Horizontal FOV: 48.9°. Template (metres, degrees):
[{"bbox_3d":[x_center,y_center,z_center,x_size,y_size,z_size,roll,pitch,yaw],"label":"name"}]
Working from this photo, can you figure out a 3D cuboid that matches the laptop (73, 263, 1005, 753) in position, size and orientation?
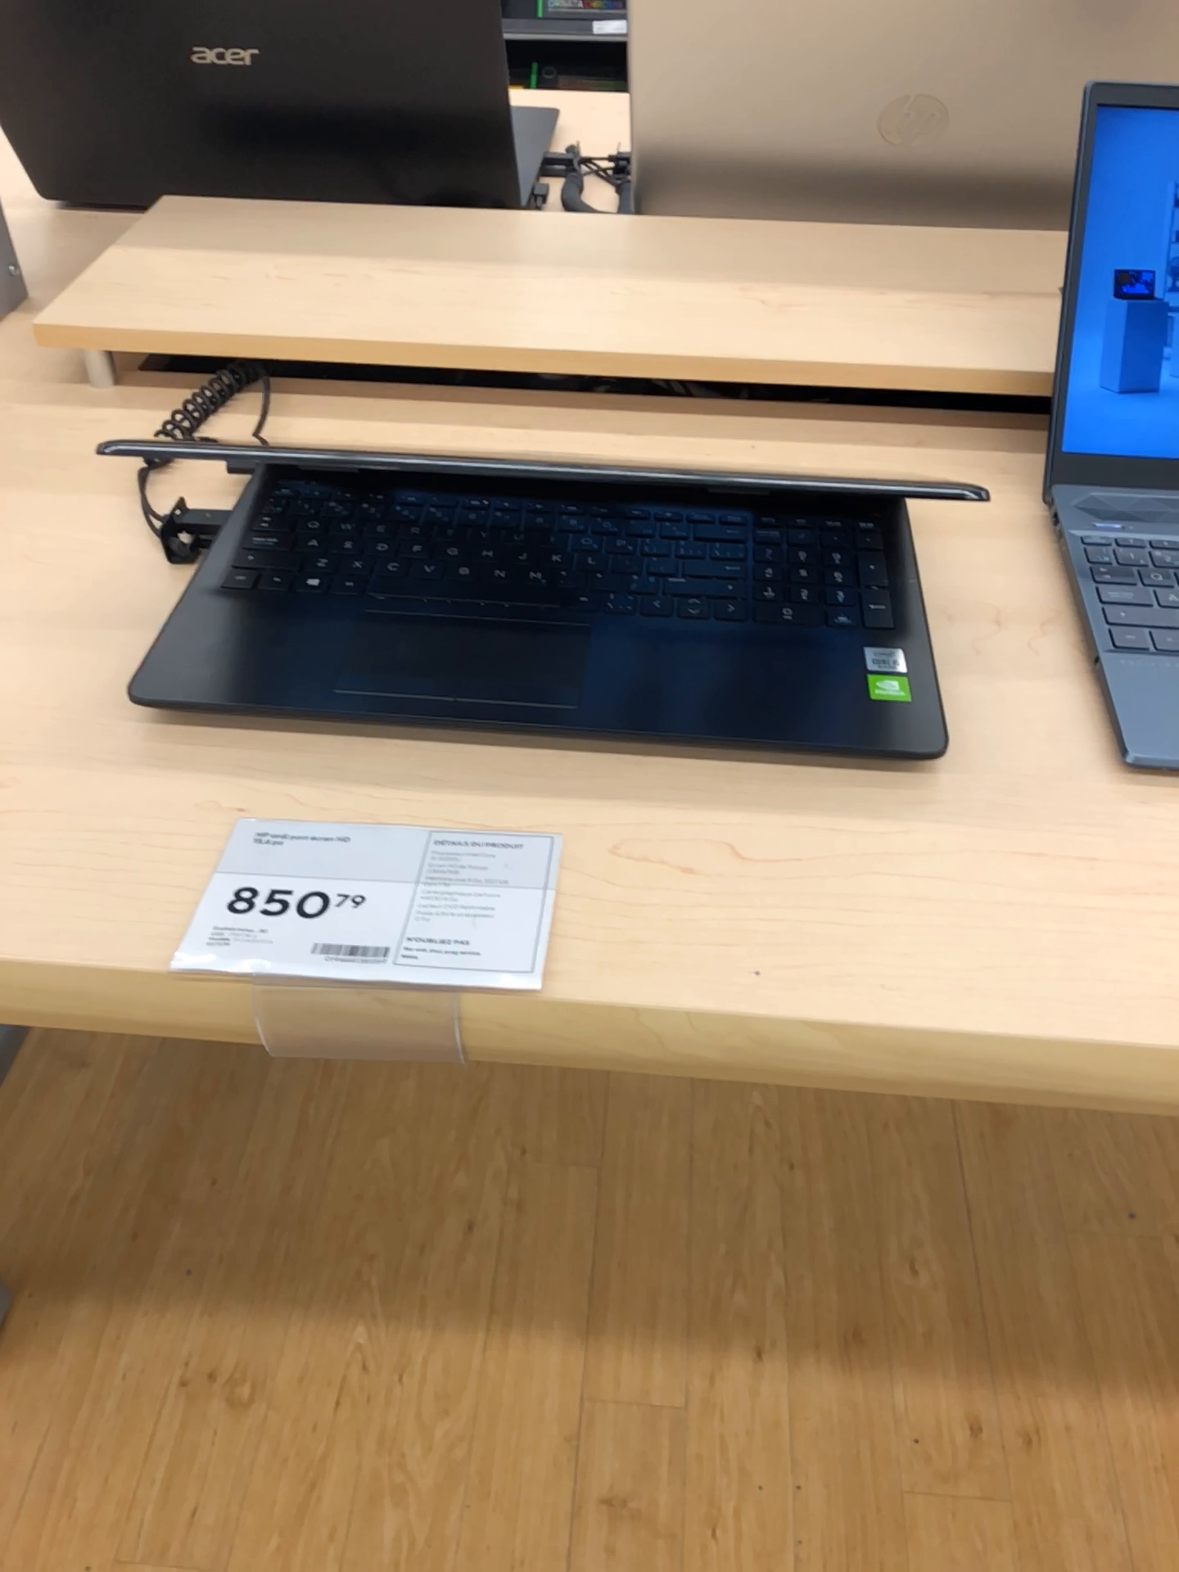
[{"bbox_3d":[-0.018,-0.150,0.639,0.371,0.115,0.240,4,41,5],"label":"laptop"}]
